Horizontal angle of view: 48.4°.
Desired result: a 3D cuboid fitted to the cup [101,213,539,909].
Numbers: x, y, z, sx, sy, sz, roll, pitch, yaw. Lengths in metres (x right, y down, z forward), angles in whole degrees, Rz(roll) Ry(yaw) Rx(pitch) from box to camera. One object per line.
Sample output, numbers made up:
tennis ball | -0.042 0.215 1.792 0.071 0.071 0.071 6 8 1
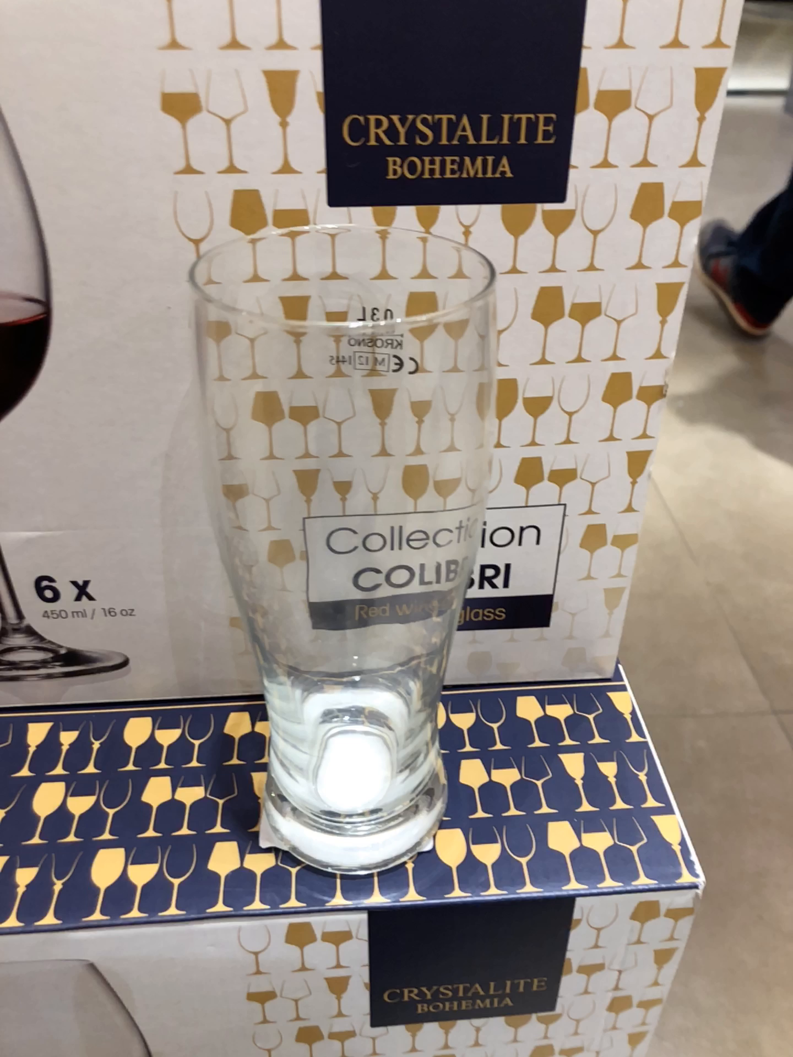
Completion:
cup | -0.014 0.016 0.245 0.080 0.179 0.081 0 35 0
